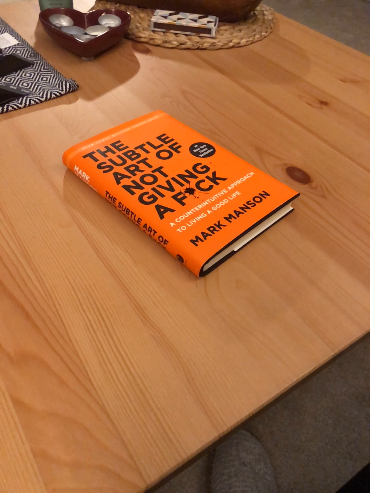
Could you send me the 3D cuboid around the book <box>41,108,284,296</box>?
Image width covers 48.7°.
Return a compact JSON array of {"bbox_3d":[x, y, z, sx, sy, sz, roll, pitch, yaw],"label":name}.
[{"bbox_3d":[-0.029,-0.067,0.457,0.161,0.030,0.220,-33,60,-28],"label":"book"}]
